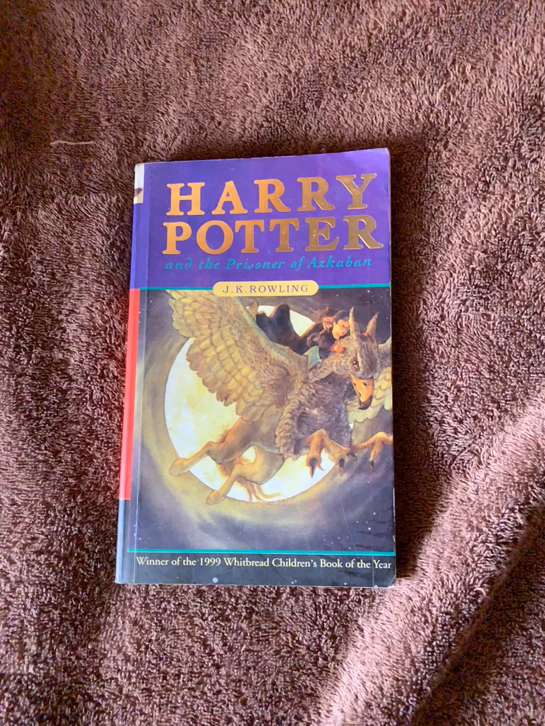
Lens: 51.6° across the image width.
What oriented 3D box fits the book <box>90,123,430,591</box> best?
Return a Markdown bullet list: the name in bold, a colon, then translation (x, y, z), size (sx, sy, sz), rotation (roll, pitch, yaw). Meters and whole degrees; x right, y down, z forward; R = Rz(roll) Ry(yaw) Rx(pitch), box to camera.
- **book**: translation (-0.007, -0.003, 0.231), size (0.130, 0.020, 0.180), rotation (-1, 85, 5)
